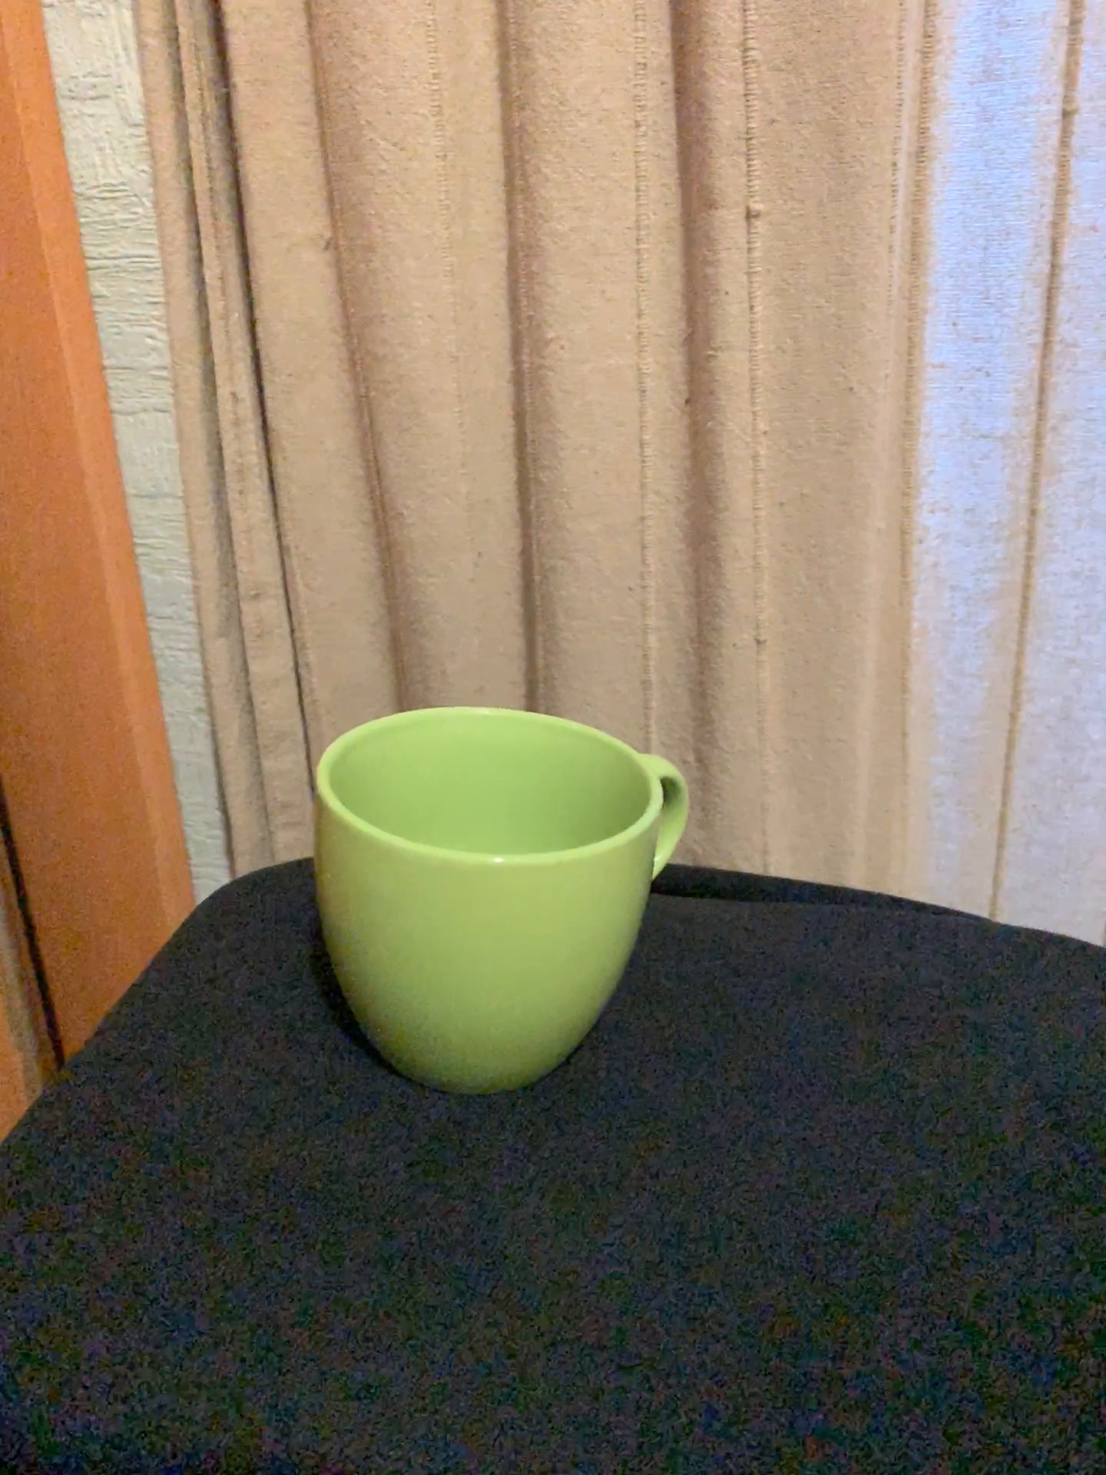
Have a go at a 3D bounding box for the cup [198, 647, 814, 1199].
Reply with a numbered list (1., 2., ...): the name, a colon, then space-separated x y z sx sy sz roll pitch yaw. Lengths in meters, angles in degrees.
1. cup: -0.011 0.036 0.299 0.125 0.069 0.090 -19 34 -38
